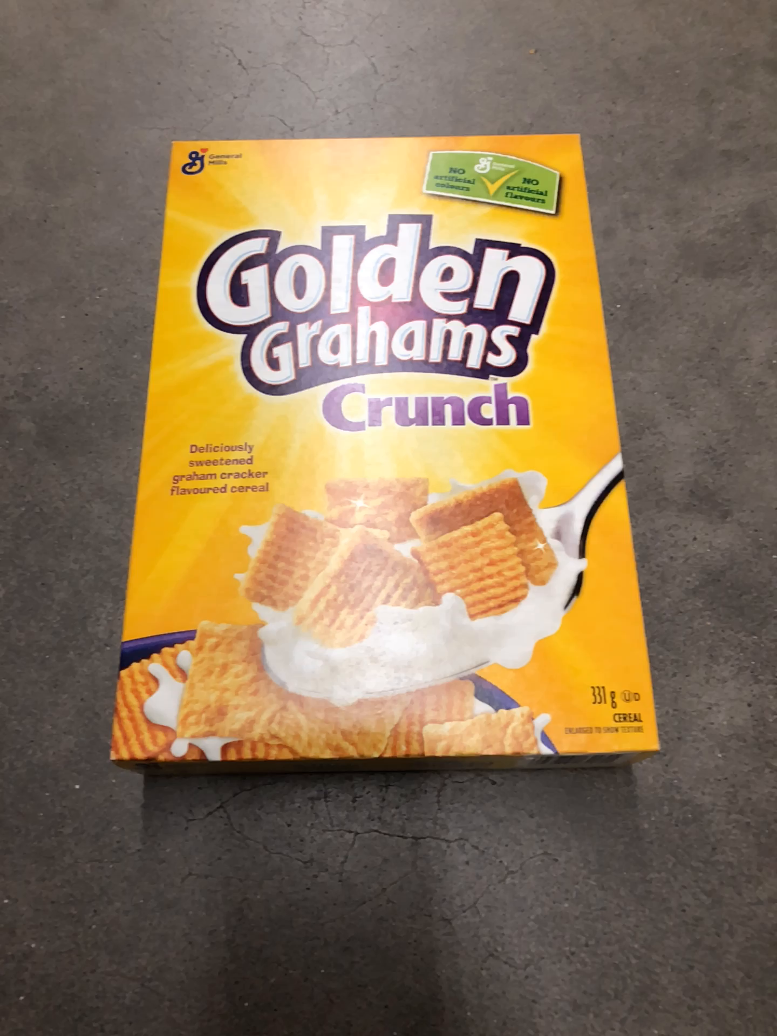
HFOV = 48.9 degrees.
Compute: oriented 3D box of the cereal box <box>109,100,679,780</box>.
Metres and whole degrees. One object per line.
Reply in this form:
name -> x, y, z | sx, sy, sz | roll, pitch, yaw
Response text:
cereal box -> 0.000, -0.043, 0.386 | 0.200, 0.070, 0.301 | -2, 69, 2
